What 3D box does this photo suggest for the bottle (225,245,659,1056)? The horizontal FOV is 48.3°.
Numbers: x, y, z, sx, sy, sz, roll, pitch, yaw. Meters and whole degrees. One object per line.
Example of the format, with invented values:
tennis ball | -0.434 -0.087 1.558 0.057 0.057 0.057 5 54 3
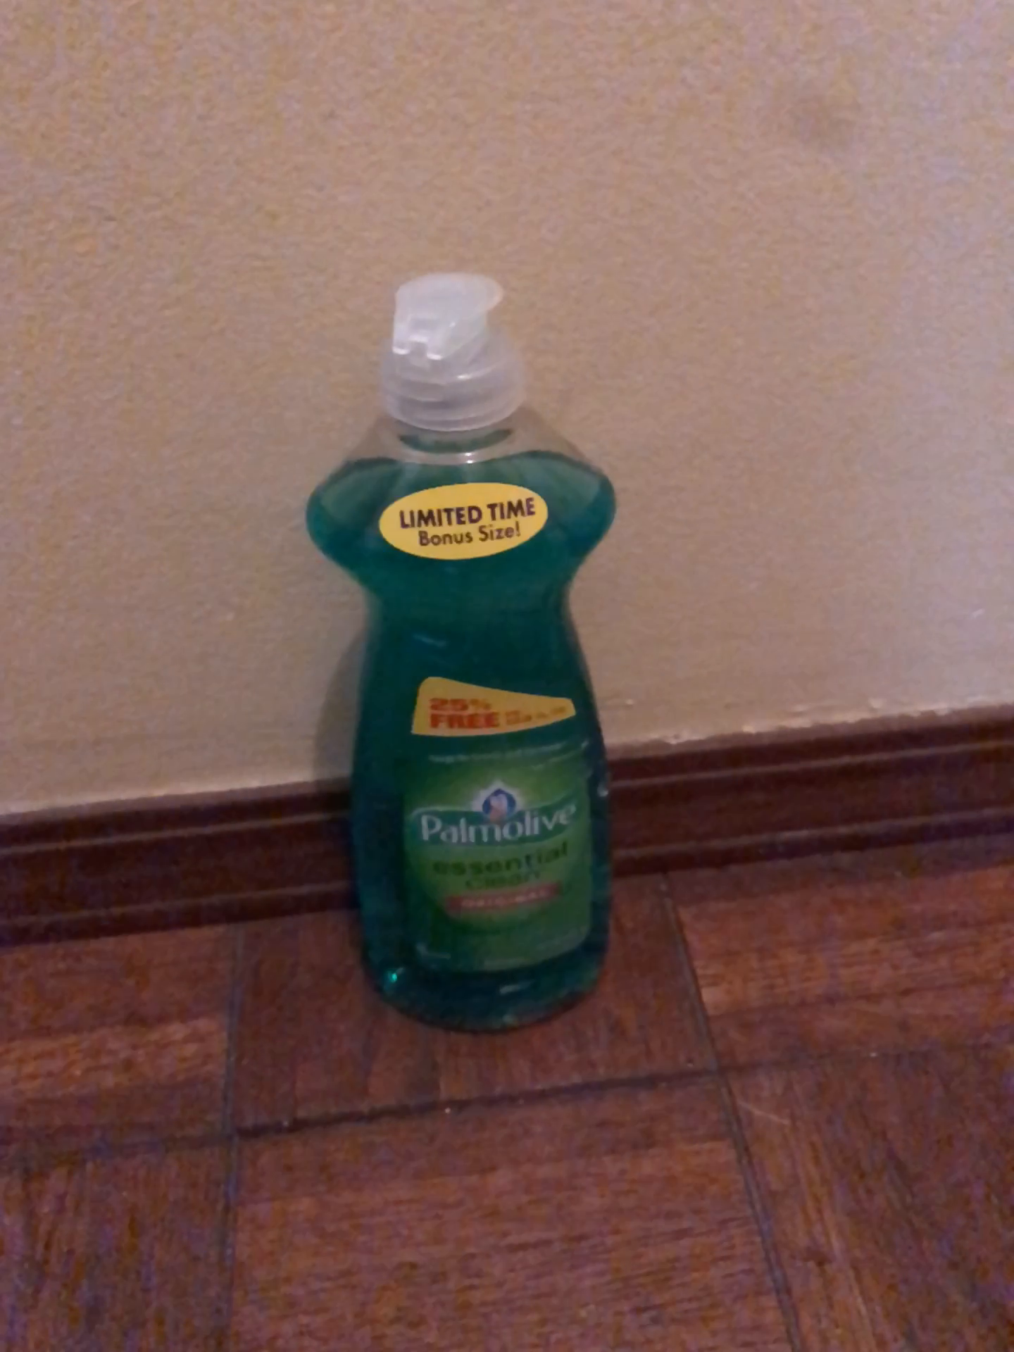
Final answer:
bottle | -0.011 0.013 0.302 0.080 0.230 0.050 -7 42 -5
